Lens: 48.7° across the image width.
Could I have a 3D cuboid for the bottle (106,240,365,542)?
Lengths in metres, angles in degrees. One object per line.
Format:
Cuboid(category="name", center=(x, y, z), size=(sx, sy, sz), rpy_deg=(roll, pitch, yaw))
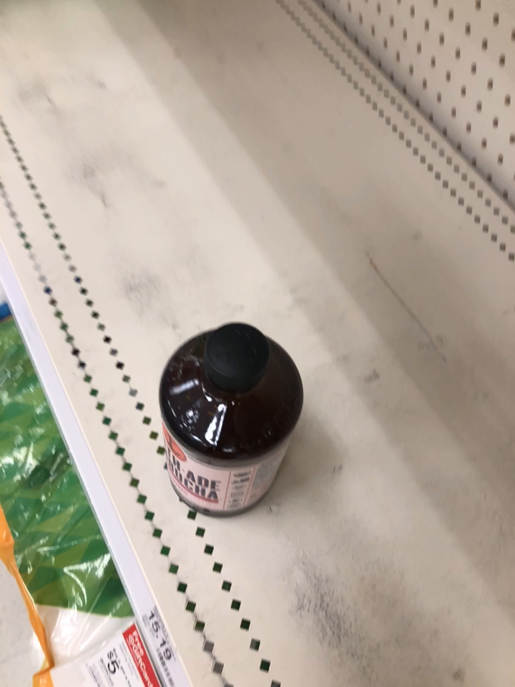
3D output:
Cuboid(category="bottle", center=(-0.017, 0.040, 0.341), size=(0.089, 0.170, 0.086), rpy_deg=(2, 60, -3))
